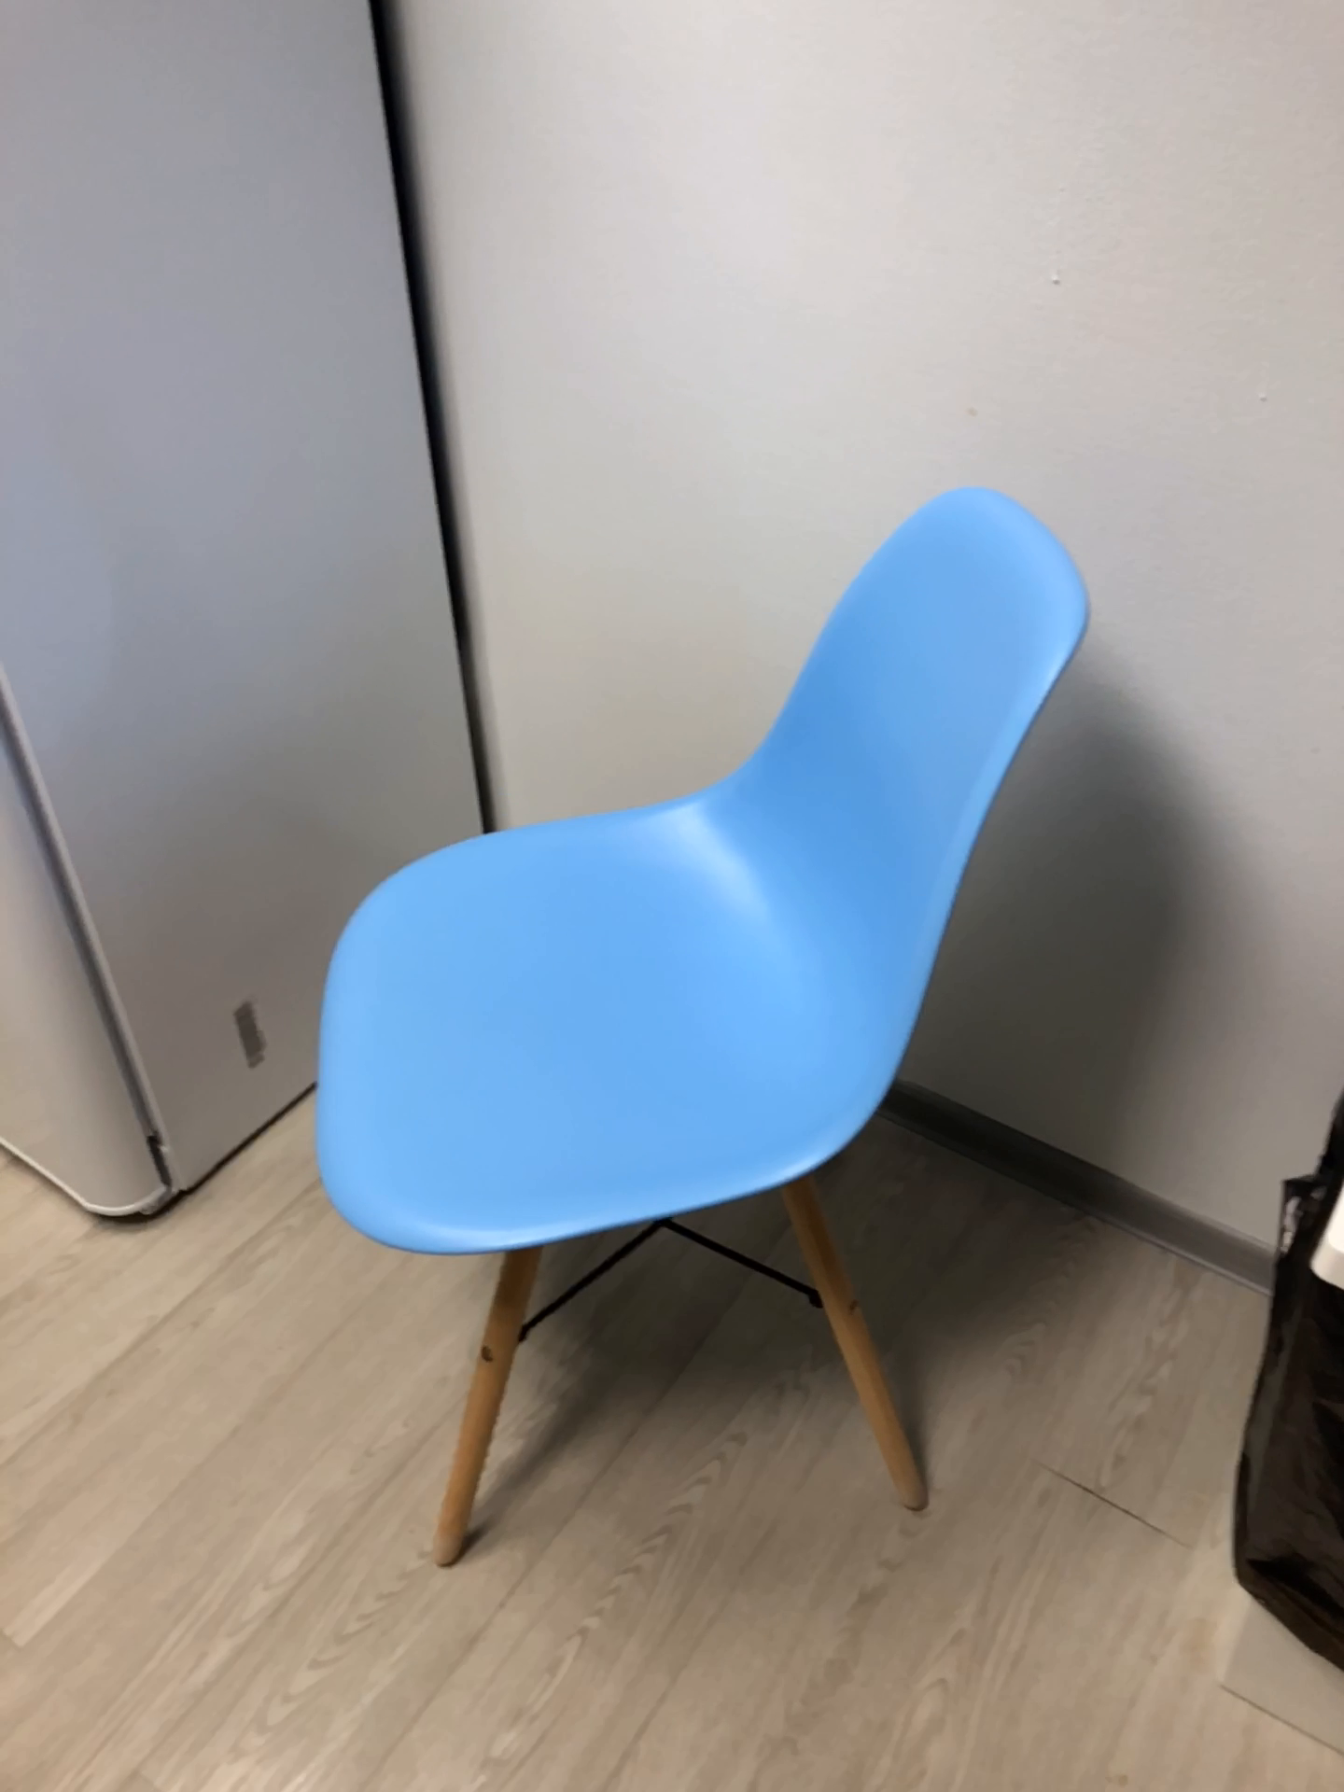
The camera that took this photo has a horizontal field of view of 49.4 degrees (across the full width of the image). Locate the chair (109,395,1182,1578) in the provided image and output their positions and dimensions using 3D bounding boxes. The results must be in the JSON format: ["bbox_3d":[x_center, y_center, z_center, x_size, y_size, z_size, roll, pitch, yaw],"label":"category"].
[{"bbox_3d":[-0.014,0.089,1.140,0.530,0.775,0.463,-4,38,-2],"label":"chair"}]
